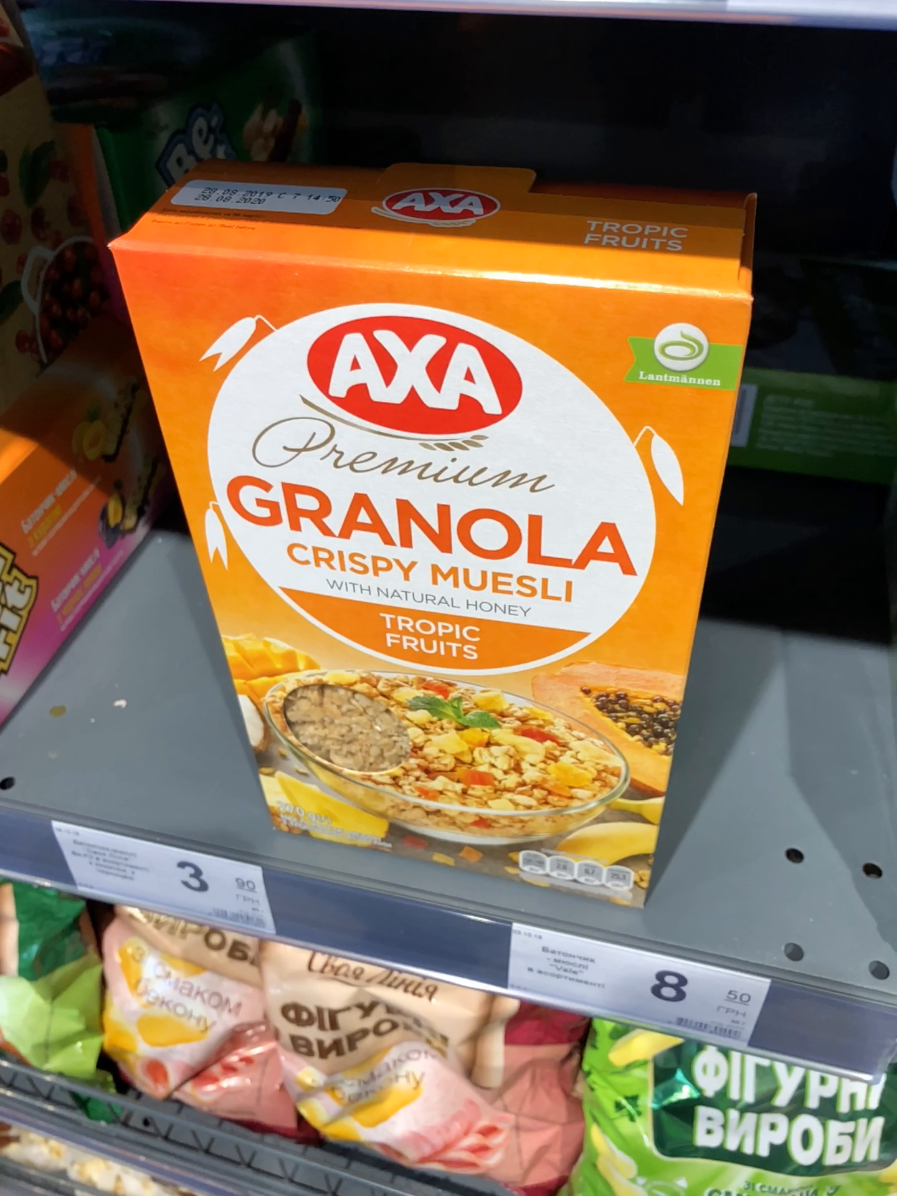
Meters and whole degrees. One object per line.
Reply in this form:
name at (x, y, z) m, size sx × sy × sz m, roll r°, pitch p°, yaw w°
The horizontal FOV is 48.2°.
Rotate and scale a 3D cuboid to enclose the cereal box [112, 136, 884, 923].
cereal box at (0.013, -0.002, 0.268) m, size 0.140 × 0.208 × 0.050 m, roll 8°, pitch 45°, yaw 11°
